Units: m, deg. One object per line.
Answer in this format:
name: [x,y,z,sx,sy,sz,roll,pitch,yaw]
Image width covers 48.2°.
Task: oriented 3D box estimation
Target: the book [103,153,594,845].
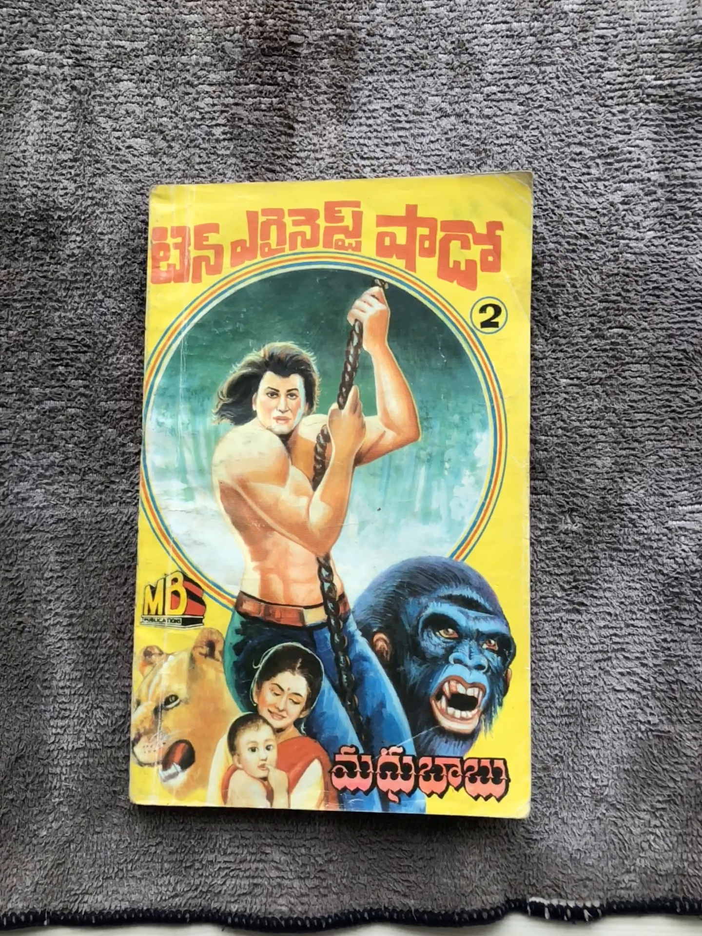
book: [0.000,0.005,0.192,0.110,0.020,0.160,0,85,0]
